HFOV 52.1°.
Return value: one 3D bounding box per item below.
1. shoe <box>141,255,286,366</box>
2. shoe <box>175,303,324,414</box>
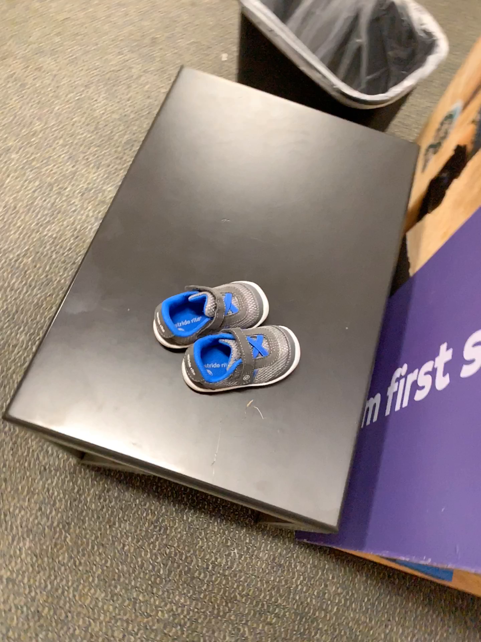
[{"bbox_3d":[-0.032,-0.011,0.554,0.140,0.060,0.070,-18,72,-14],"label":"shoe"},{"bbox_3d":[0.006,0.041,0.534,0.140,0.060,0.070,-15,71,-13],"label":"shoe"}]
